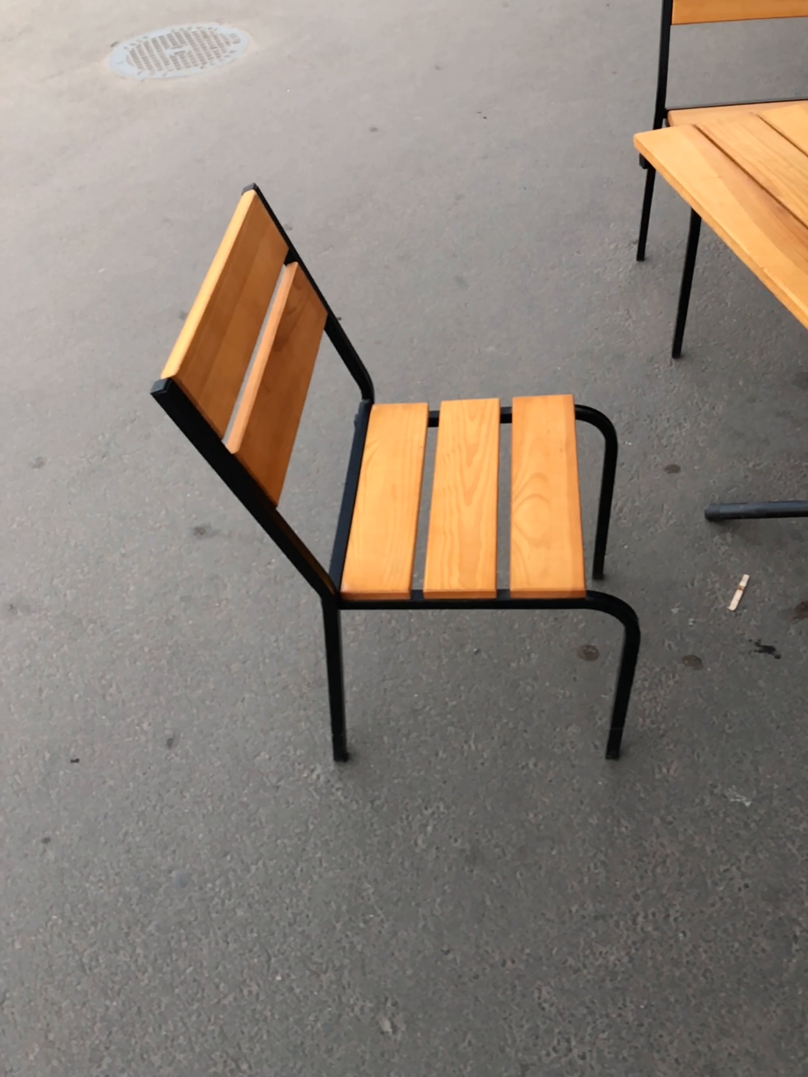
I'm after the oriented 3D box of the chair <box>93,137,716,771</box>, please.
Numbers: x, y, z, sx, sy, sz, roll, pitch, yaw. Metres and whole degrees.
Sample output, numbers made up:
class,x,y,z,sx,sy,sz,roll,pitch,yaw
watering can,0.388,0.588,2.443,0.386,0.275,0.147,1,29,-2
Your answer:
class,x,y,z,sx,sy,sz,roll,pitch,yaw
chair,0.044,-0.090,1.172,0.550,0.638,0.492,1,47,8
